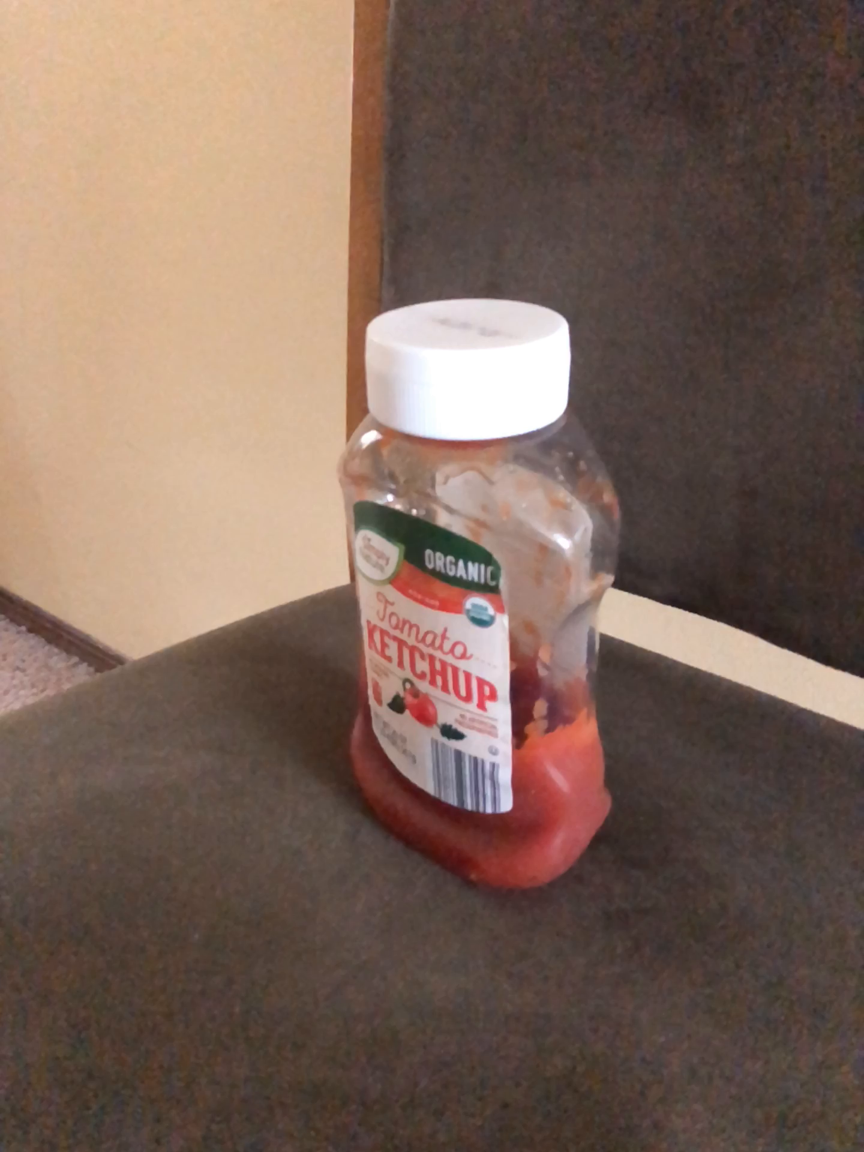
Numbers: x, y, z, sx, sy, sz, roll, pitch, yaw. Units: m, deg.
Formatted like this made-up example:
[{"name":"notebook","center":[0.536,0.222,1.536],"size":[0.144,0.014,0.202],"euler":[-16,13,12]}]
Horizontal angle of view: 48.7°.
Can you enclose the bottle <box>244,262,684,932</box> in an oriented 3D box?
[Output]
[{"name":"bottle","center":[0.009,0.003,0.288],"size":[0.100,0.170,0.060],"euler":[23,38,39]}]
